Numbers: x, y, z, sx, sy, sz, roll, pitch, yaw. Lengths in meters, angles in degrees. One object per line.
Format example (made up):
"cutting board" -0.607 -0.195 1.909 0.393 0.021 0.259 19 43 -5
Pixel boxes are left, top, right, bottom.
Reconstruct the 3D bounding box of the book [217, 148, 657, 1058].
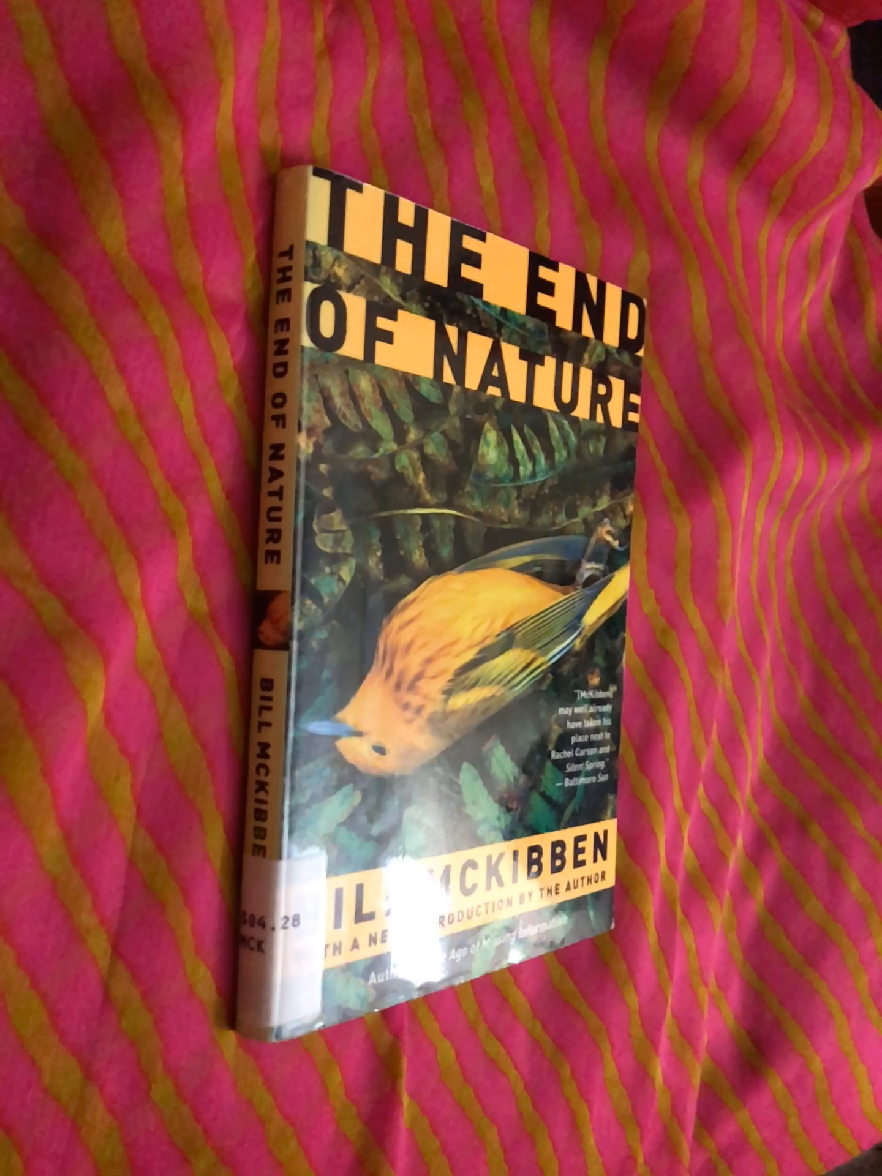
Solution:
"book" 0.008 0.006 0.264 0.132 0.020 0.194 3 92 -47
